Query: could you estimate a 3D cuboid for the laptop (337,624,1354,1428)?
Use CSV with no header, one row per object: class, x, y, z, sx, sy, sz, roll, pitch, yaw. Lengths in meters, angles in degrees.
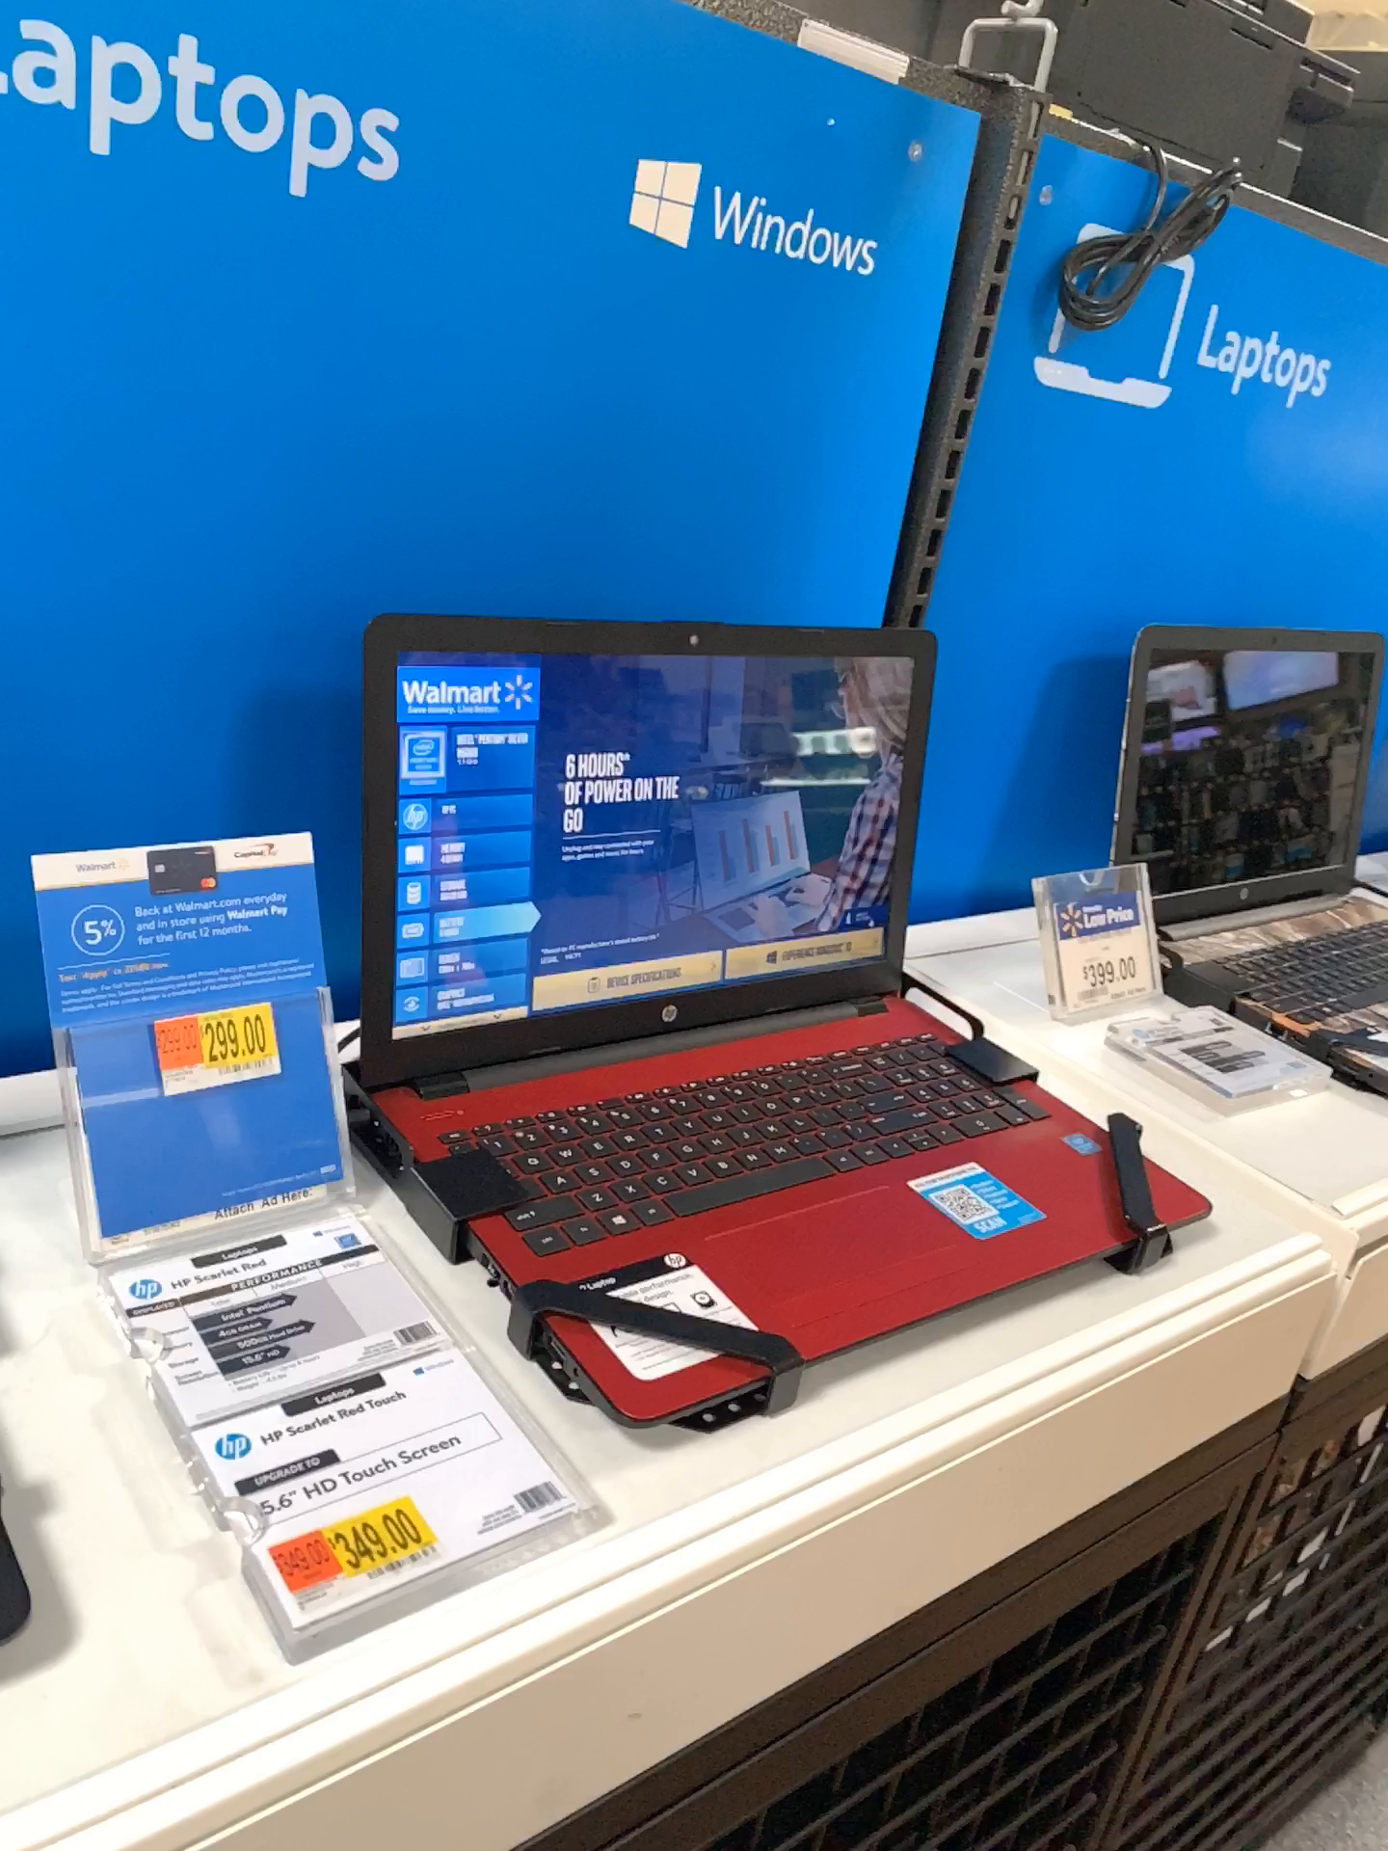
laptop,0.062,0.005,0.690,0.364,0.223,0.280,-7,29,-36
